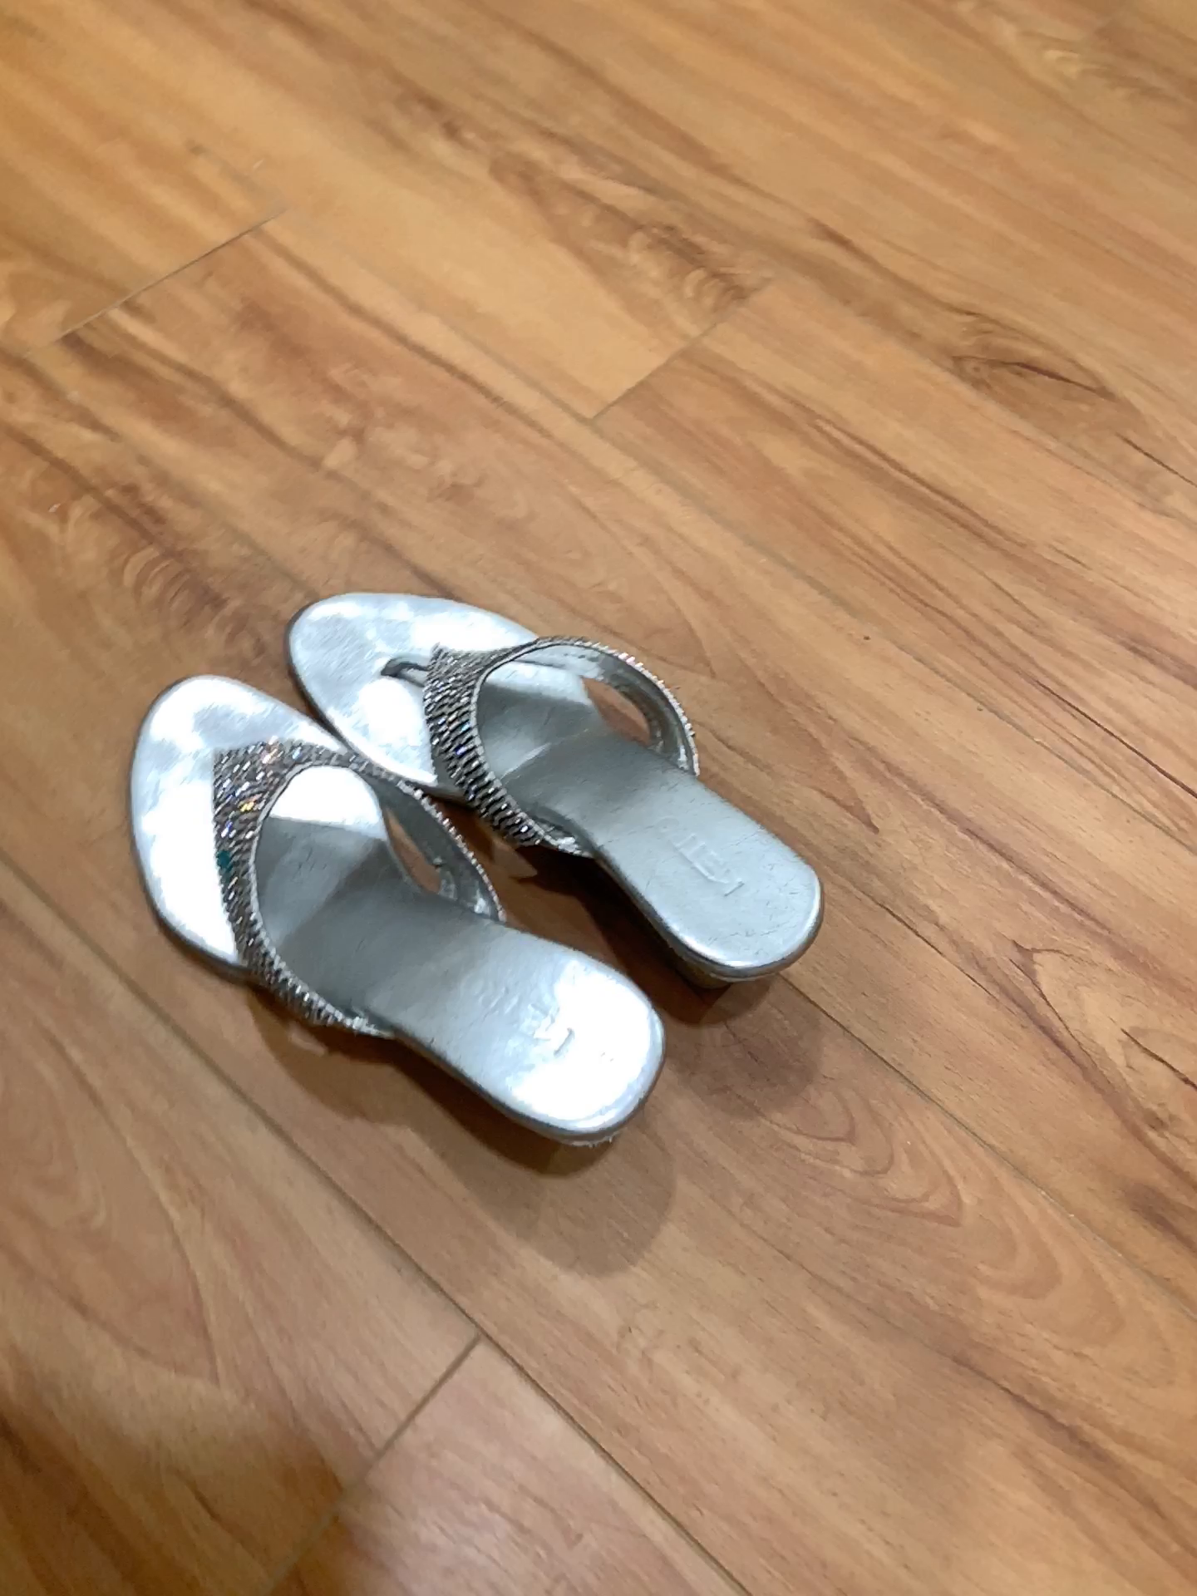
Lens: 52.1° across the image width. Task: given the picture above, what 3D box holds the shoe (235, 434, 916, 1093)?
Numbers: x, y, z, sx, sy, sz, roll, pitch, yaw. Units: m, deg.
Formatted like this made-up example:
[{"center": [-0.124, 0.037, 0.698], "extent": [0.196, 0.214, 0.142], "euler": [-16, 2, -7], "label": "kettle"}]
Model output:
[{"center": [-0.015, -0.017, 0.430], "extent": [0.228, 0.073, 0.085], "euler": [42, 64, 16], "label": "shoe"}]

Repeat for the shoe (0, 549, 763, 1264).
[{"center": [-0.074, 0.030, 0.398], "extent": [0.228, 0.073, 0.095], "euler": [36, 63, 14], "label": "shoe"}]
